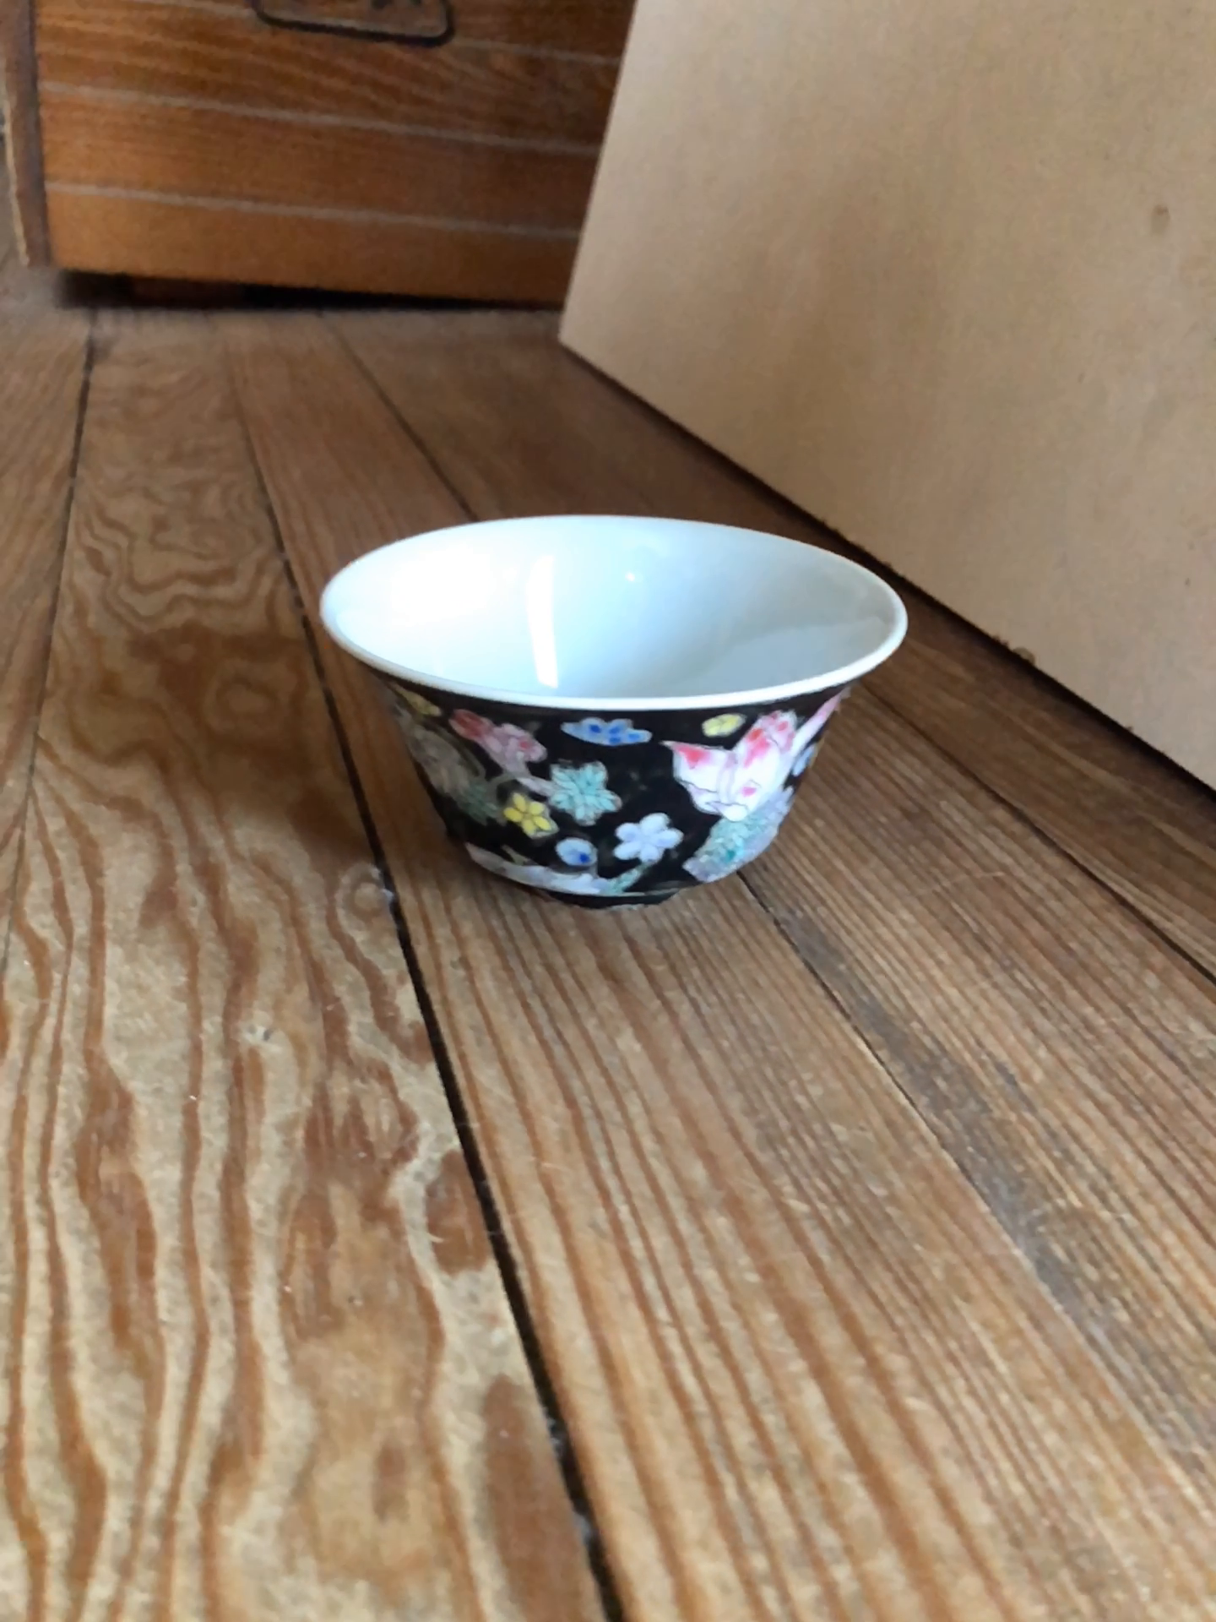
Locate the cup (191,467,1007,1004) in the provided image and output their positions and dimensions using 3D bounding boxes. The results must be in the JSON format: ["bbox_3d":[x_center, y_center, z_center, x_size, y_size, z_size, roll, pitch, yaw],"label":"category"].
[{"bbox_3d":[0.001,-0.025,0.254,0.110,0.040,0.101,1,29,-1],"label":"cup"}]
